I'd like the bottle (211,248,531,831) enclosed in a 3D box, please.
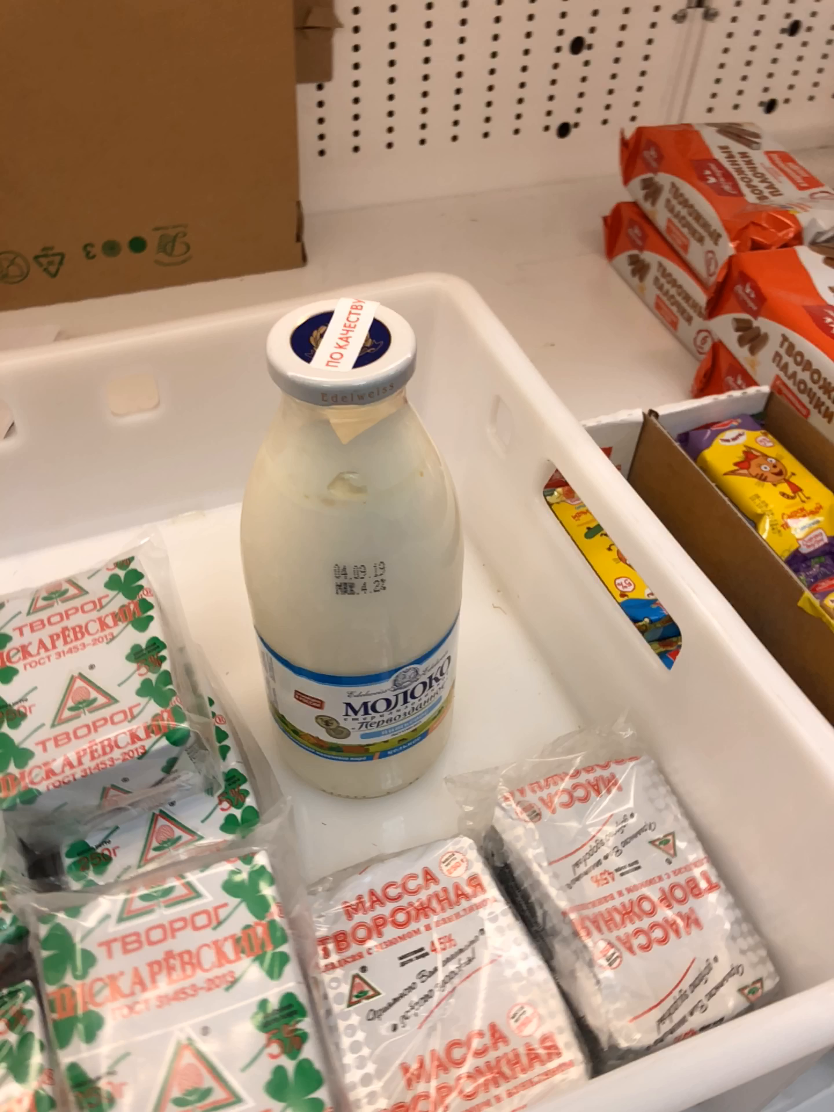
[{"bbox_3d":[-0.021,0.008,0.352,0.071,0.220,0.073,2,46,-2],"label":"bottle"}]
